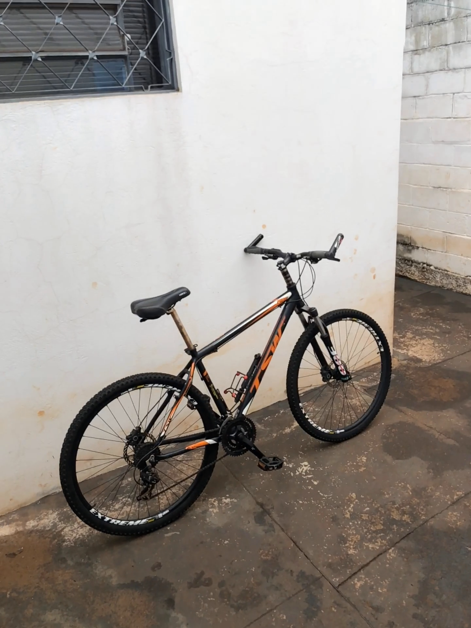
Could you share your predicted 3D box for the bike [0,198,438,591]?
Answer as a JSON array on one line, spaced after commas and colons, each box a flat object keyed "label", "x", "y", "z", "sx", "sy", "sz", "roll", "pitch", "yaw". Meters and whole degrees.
[{"label": "bike", "x": 0.027, "y": 0.183, "z": 2.409, "sx": 1.768, "sy": 1.086, "sz": 0.723, "roll": -17, "pitch": 24, "yaw": -28}]
